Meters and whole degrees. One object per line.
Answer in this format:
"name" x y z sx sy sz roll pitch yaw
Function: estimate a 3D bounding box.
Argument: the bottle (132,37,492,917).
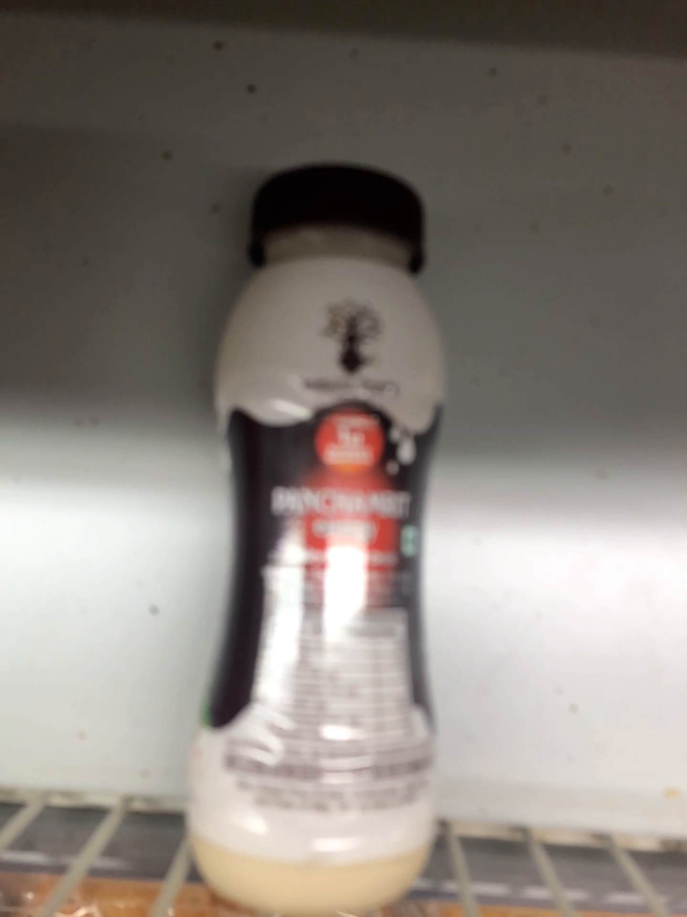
"bottle" -0.007 0.004 0.167 0.060 0.060 0.160 3 84 -9
